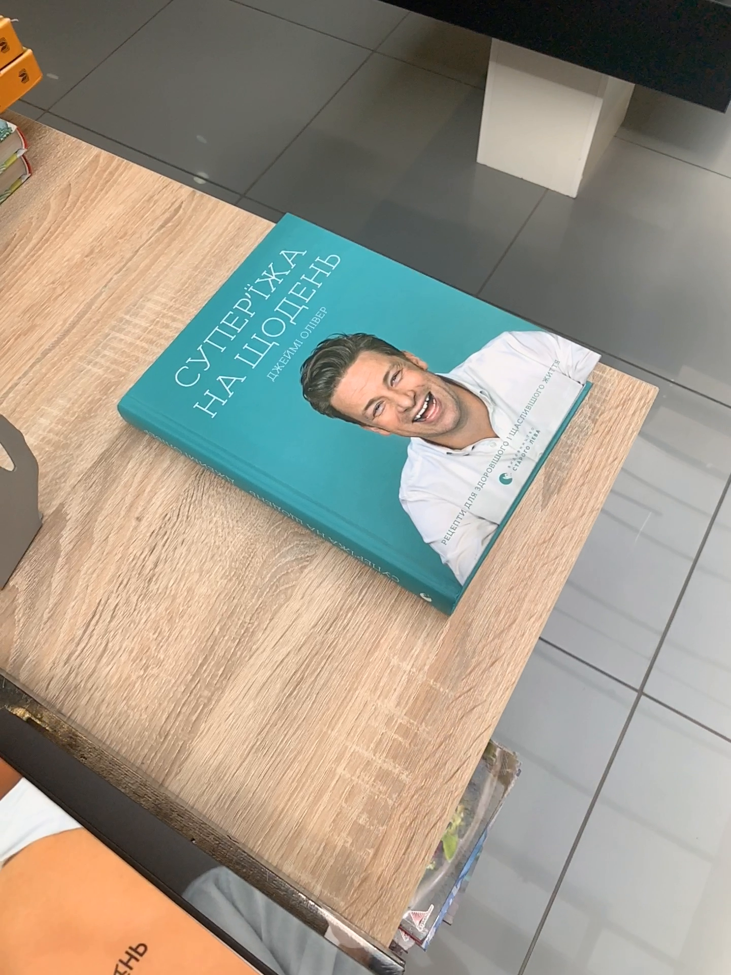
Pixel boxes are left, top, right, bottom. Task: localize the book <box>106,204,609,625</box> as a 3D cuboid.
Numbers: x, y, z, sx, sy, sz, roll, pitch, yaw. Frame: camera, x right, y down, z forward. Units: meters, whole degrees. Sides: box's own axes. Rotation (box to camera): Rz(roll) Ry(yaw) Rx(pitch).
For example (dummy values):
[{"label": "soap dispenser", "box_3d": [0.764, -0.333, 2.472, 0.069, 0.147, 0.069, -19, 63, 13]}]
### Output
[{"label": "book", "box_3d": [-0.004, -0.063, 0.494, 0.255, 0.030, 0.200, 29, 69, 15]}]
